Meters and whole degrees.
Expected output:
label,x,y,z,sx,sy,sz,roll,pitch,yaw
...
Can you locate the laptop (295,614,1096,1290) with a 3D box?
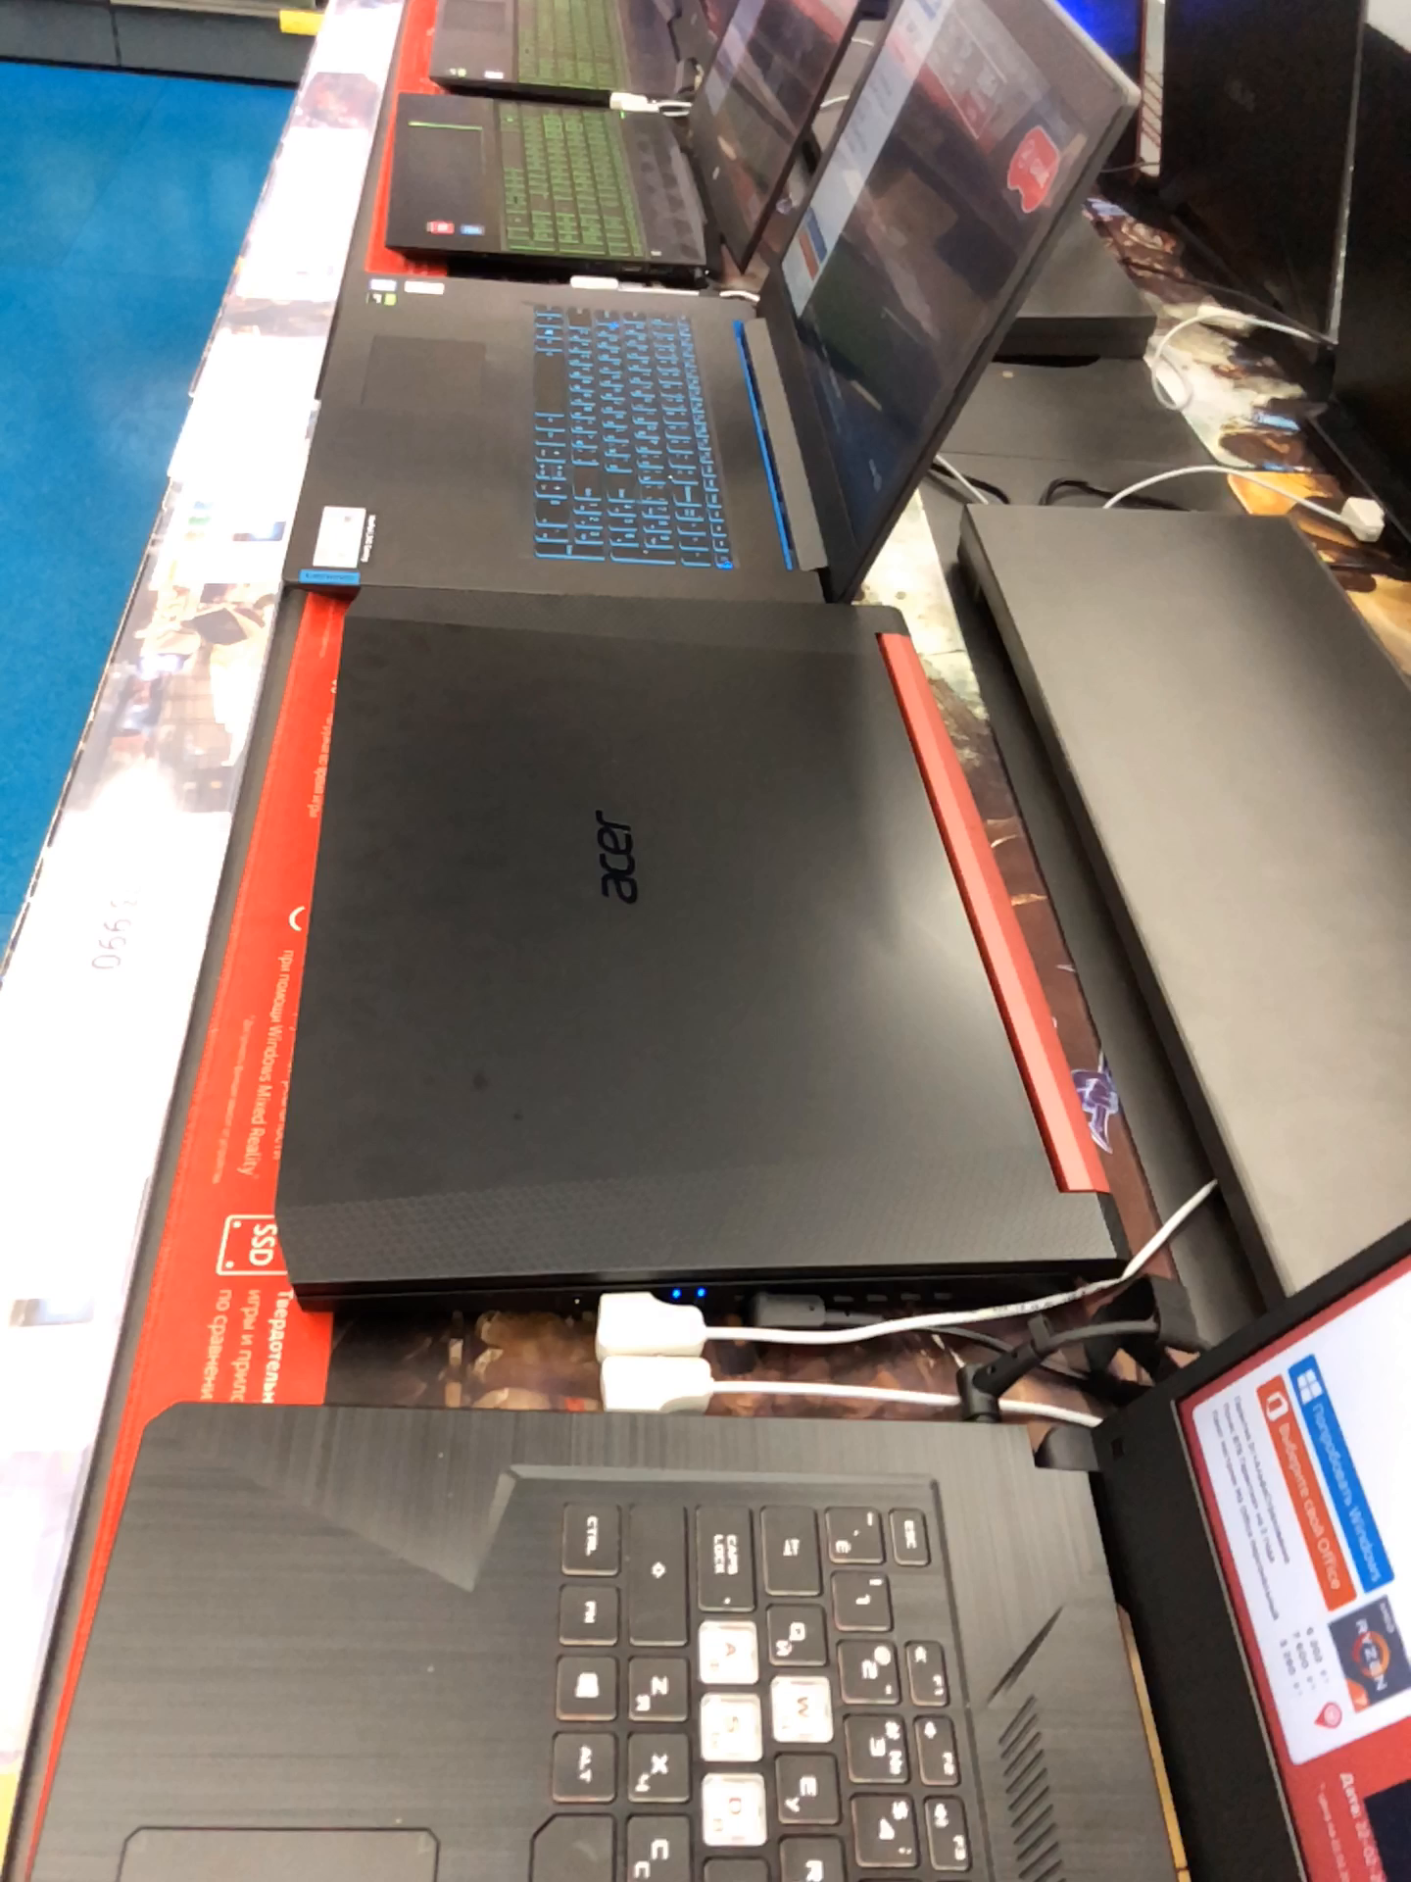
label,x,y,z,sx,sy,sz,roll,pitch,yaw
laptop,-0.014,-0.024,0.619,0.255,0.002,0.372,1,44,-8
